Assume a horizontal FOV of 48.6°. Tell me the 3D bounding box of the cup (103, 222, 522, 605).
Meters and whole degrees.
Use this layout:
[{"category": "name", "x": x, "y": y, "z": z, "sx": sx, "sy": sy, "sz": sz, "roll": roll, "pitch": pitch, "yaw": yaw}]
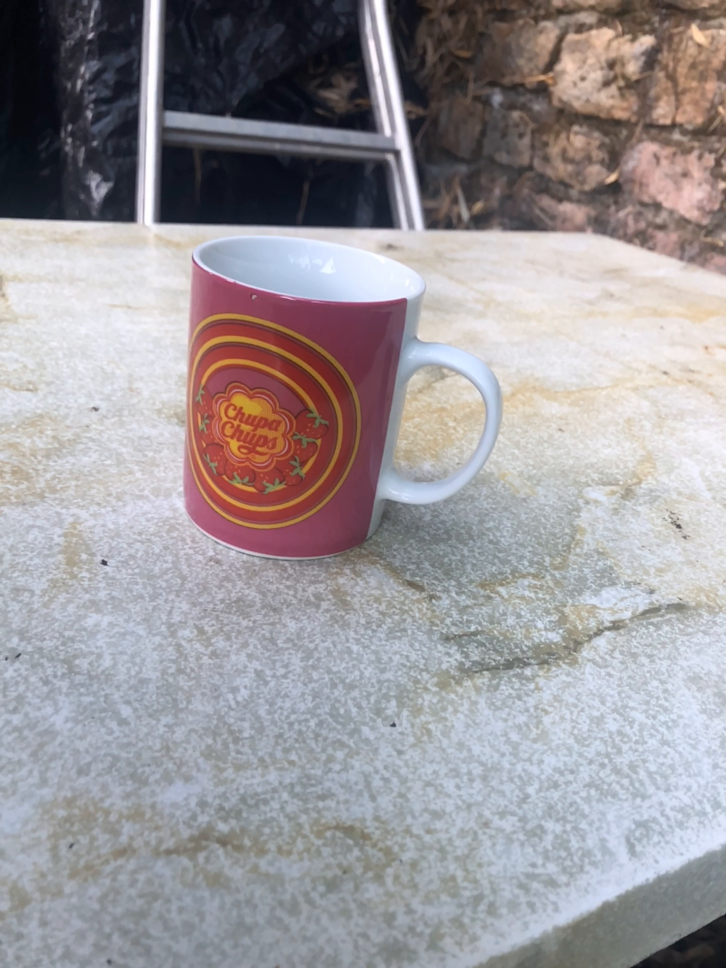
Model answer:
[{"category": "cup", "x": -0.015, "y": -0.030, "z": 0.278, "sx": 0.116, "sy": 0.089, "sz": 0.077, "roll": 13, "pitch": 28, "yaw": 11}]
